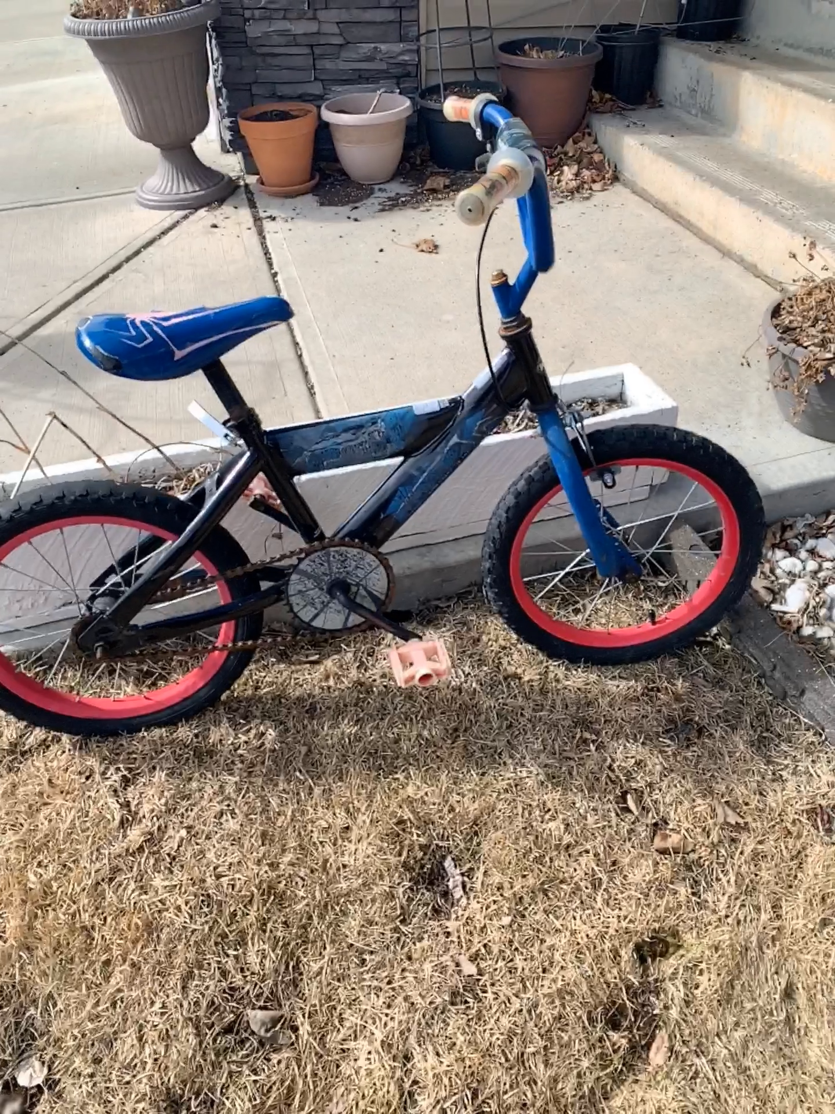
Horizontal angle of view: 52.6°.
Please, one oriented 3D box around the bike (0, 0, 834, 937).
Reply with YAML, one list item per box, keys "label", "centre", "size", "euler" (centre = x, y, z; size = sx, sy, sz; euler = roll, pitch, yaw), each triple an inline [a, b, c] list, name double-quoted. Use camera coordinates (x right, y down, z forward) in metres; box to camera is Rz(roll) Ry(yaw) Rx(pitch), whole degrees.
- label: "bike"
  centre: [-0.061, -0.108, 0.902]
  size: [1.023, 0.728, 0.538]
  euler: [-8, 40, -2]
